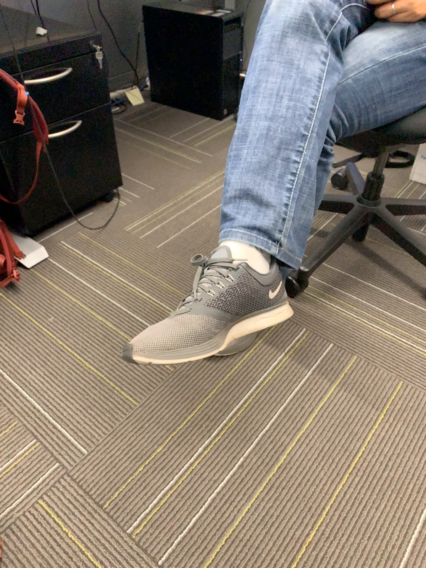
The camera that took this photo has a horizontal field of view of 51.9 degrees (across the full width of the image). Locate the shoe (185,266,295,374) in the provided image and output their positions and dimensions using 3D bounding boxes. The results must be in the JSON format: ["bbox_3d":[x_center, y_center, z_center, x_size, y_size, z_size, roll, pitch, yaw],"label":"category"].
[{"bbox_3d":[0.070,0.079,1.071,0.120,0.085,0.269,30,50,29],"label":"shoe"}]

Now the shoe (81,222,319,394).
[{"bbox_3d":[-0.011,0.024,0.634,0.295,0.143,0.122,-20,4,-32],"label":"shoe"}]
